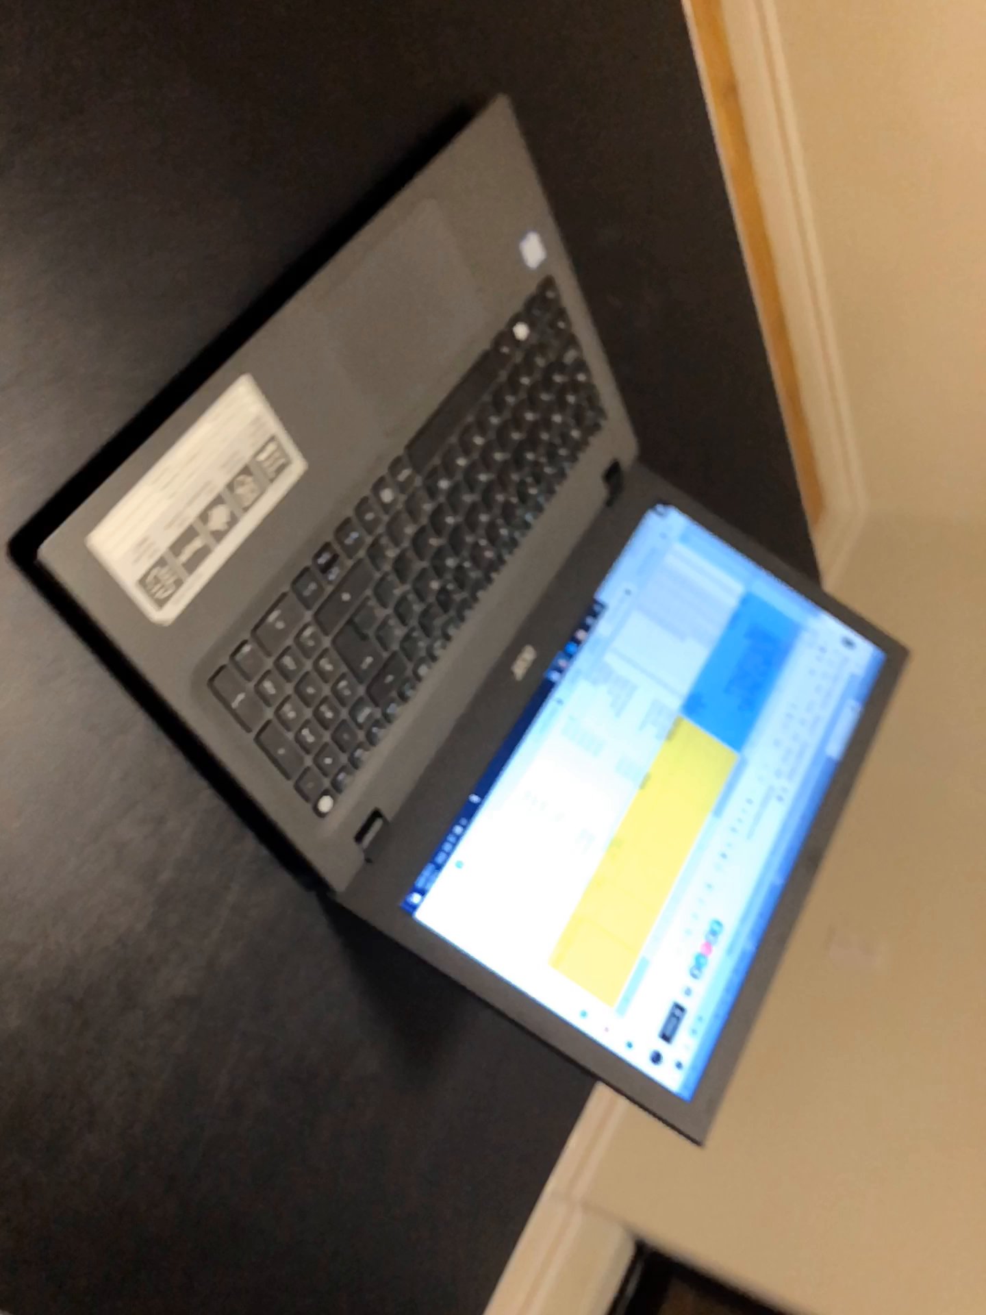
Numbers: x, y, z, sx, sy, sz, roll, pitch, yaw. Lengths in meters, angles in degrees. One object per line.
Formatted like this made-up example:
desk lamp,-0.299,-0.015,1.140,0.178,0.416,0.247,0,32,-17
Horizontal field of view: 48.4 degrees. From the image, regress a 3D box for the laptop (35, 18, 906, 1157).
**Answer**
laptop,0.058,-0.023,0.602,0.375,0.161,0.431,-56,136,-30
